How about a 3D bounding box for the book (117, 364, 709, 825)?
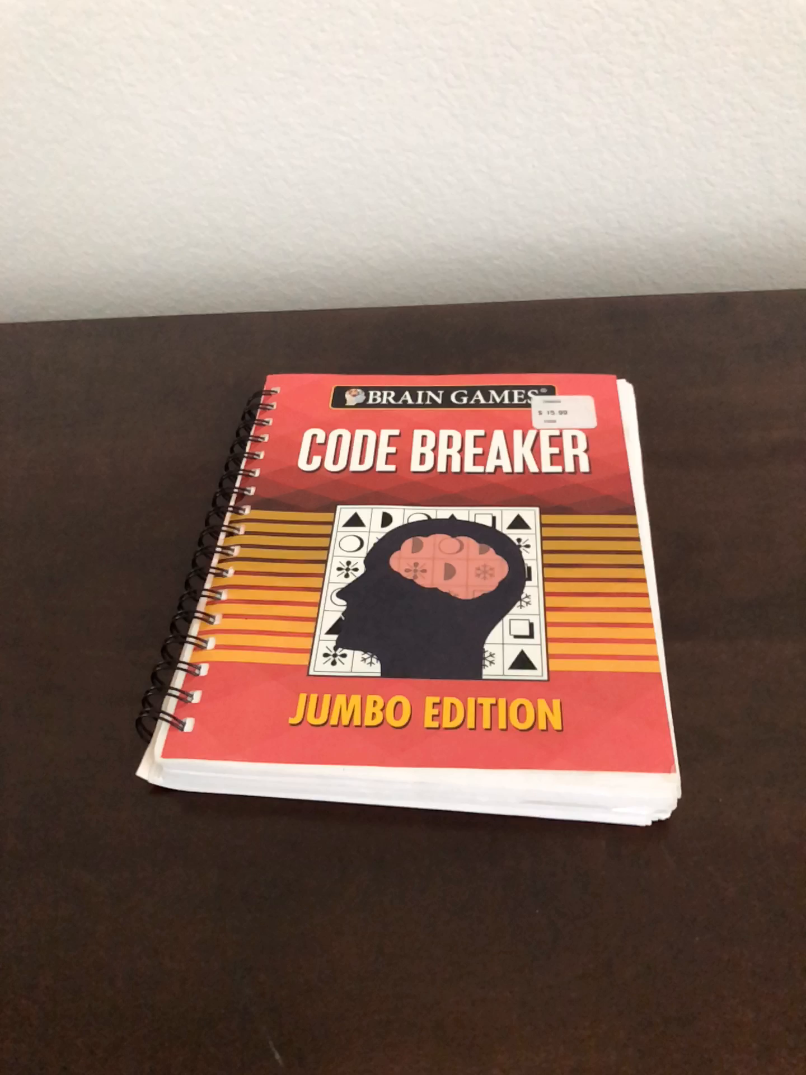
[{"bbox_3d":[0.011,0.006,0.389,0.202,0.030,0.225,1,48,7],"label":"book"}]
